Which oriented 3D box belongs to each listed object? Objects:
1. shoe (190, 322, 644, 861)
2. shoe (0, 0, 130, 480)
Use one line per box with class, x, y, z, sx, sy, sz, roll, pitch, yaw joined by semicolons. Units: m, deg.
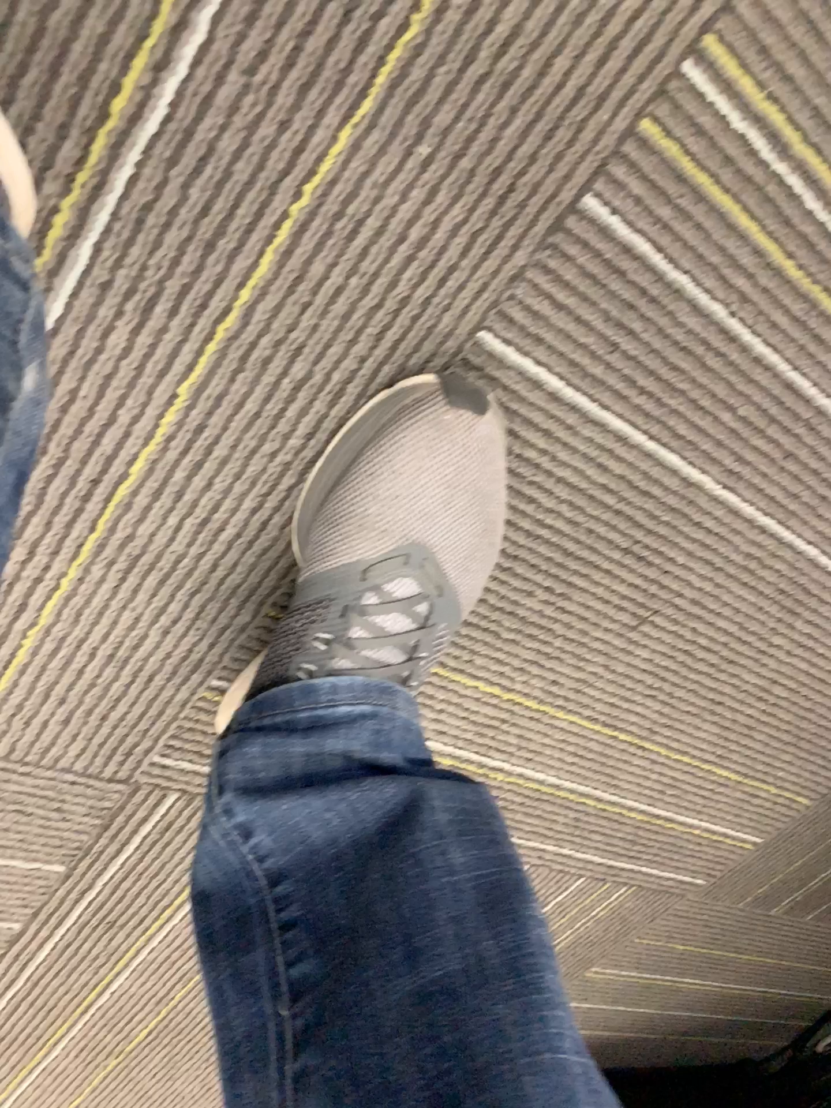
shoe;-0.022;0.044;0.477;0.128;0.092;0.301;11;125;-25
shoe;-0.220;-0.183;0.205;0.131;0.092;0.315;-26;132;5
